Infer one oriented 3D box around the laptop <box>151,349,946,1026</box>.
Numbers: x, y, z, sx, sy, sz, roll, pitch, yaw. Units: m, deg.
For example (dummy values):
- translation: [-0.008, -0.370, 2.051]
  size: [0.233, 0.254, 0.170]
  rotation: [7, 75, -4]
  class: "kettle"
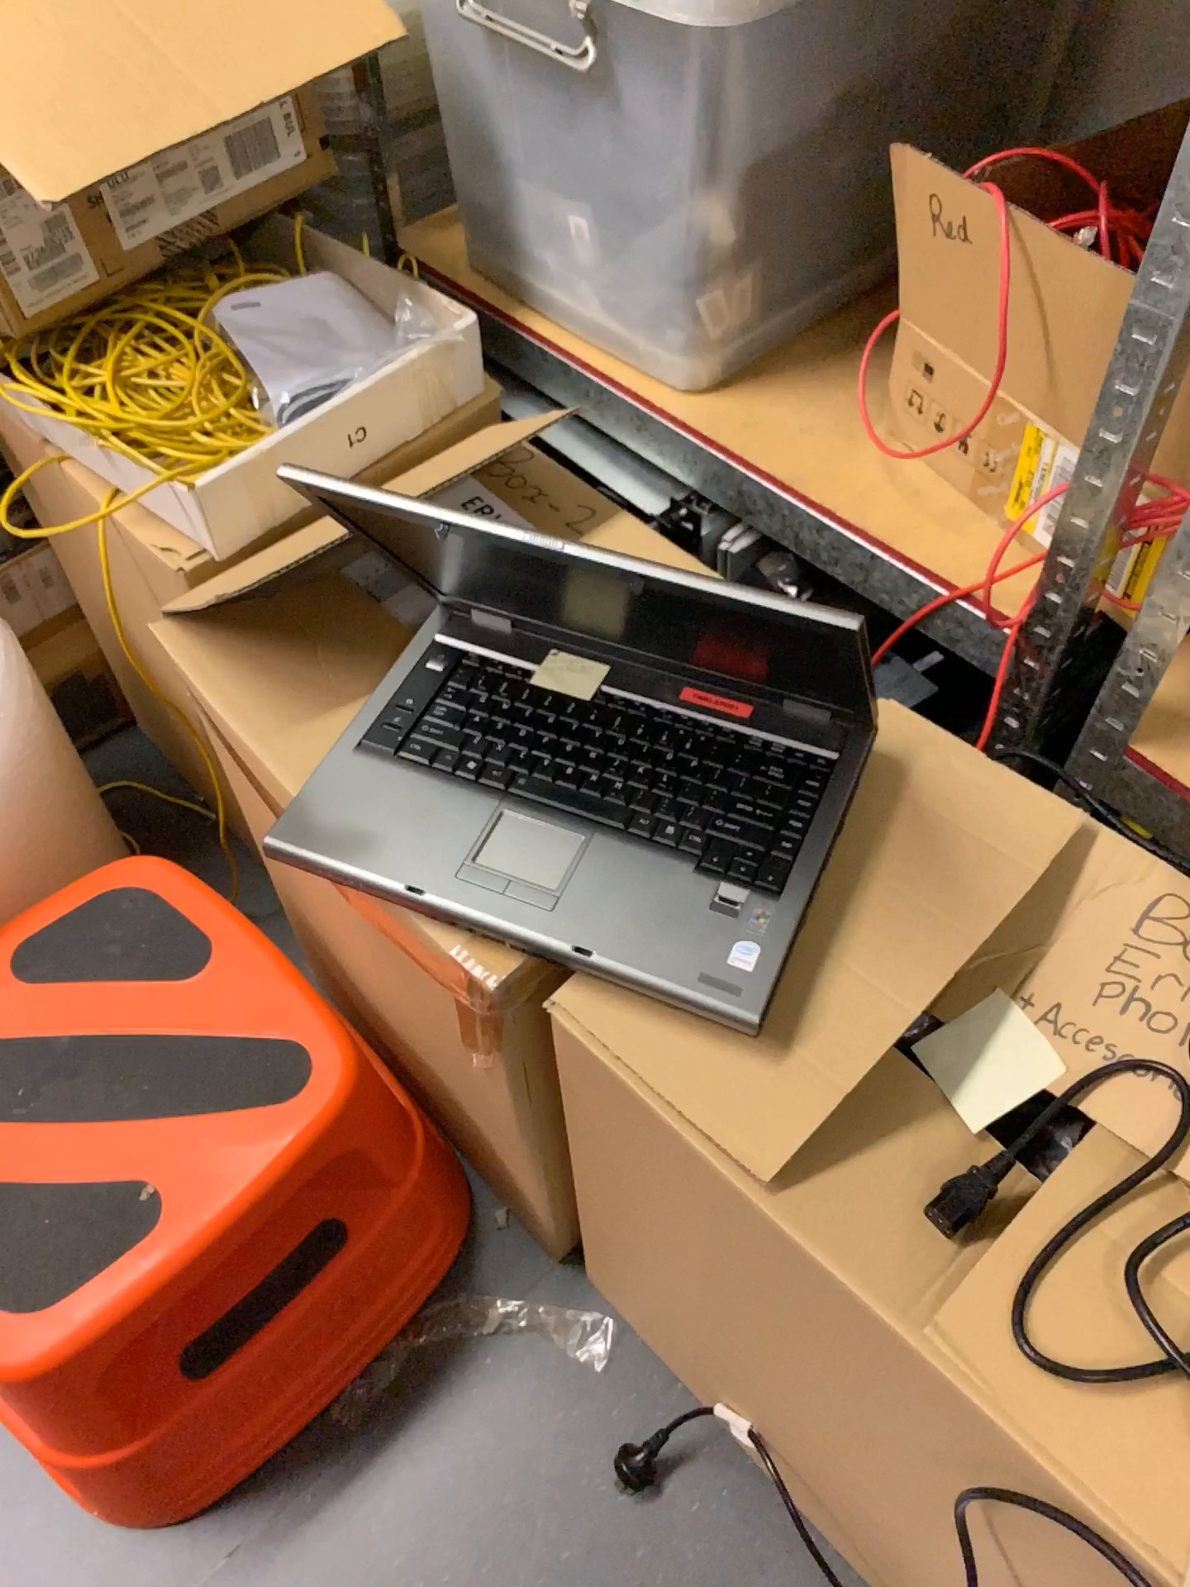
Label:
- translation: [-0.016, -0.076, 0.762]
  size: [0.360, 0.238, 0.263]
  rotation: [18, 53, 17]
  class: "laptop"
